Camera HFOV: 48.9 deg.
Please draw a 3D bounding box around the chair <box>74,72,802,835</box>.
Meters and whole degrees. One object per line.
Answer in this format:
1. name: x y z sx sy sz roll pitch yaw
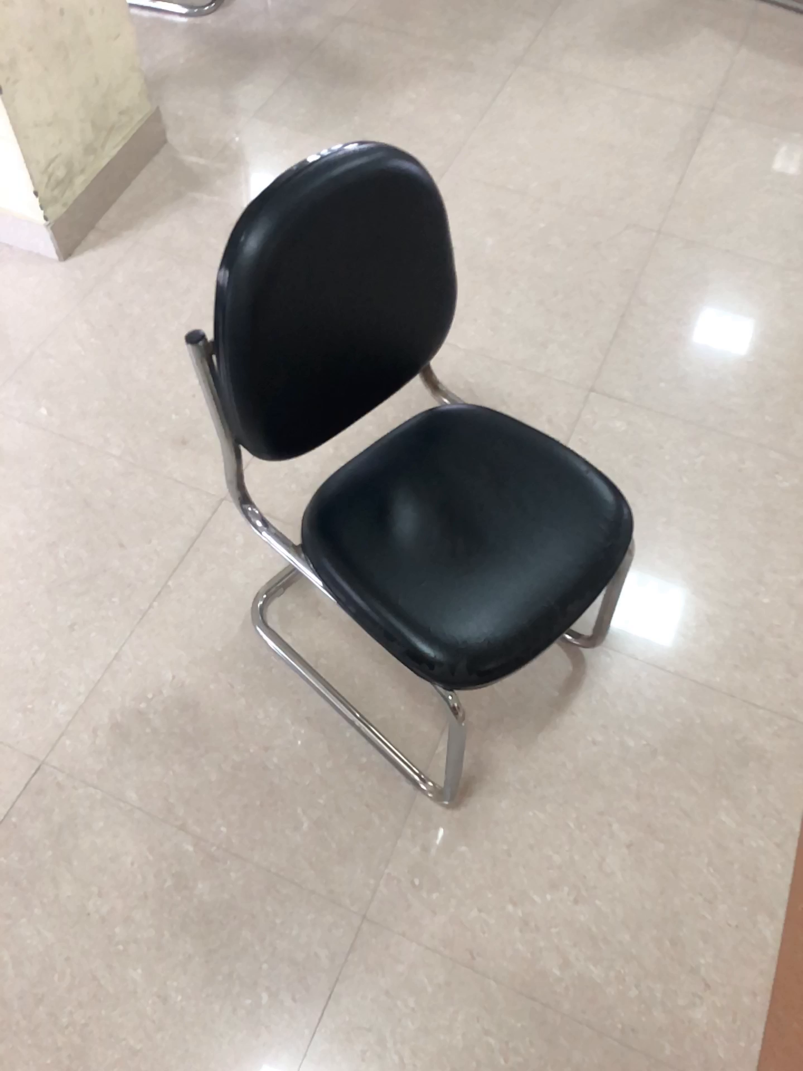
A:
1. chair: 0.035 -0.069 1.247 0.591 0.759 0.500 38 64 21
